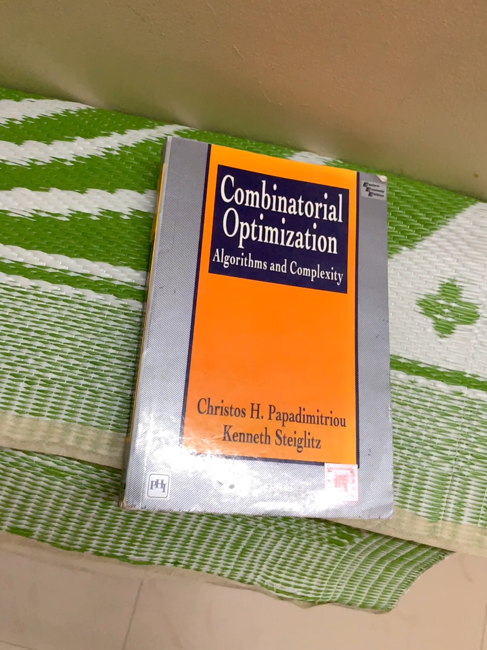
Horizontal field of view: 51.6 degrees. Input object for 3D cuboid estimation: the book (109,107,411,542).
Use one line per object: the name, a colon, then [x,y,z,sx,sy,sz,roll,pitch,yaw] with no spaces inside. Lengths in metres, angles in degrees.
book: [0.016,-0.006,0.337,0.170,0.040,0.271,8,69,-13]
